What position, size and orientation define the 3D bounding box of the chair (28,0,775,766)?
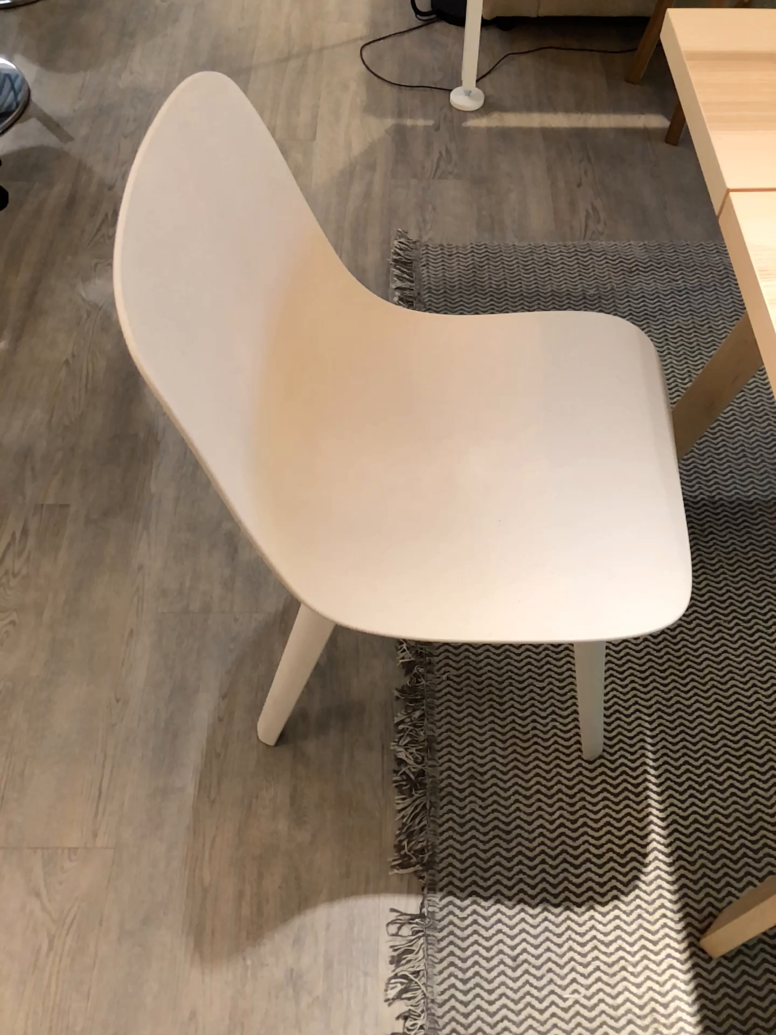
[{"bbox_3d":[0.053,-0.076,0.941,0.510,0.766,0.462,2,58,1],"label":"chair"}]
